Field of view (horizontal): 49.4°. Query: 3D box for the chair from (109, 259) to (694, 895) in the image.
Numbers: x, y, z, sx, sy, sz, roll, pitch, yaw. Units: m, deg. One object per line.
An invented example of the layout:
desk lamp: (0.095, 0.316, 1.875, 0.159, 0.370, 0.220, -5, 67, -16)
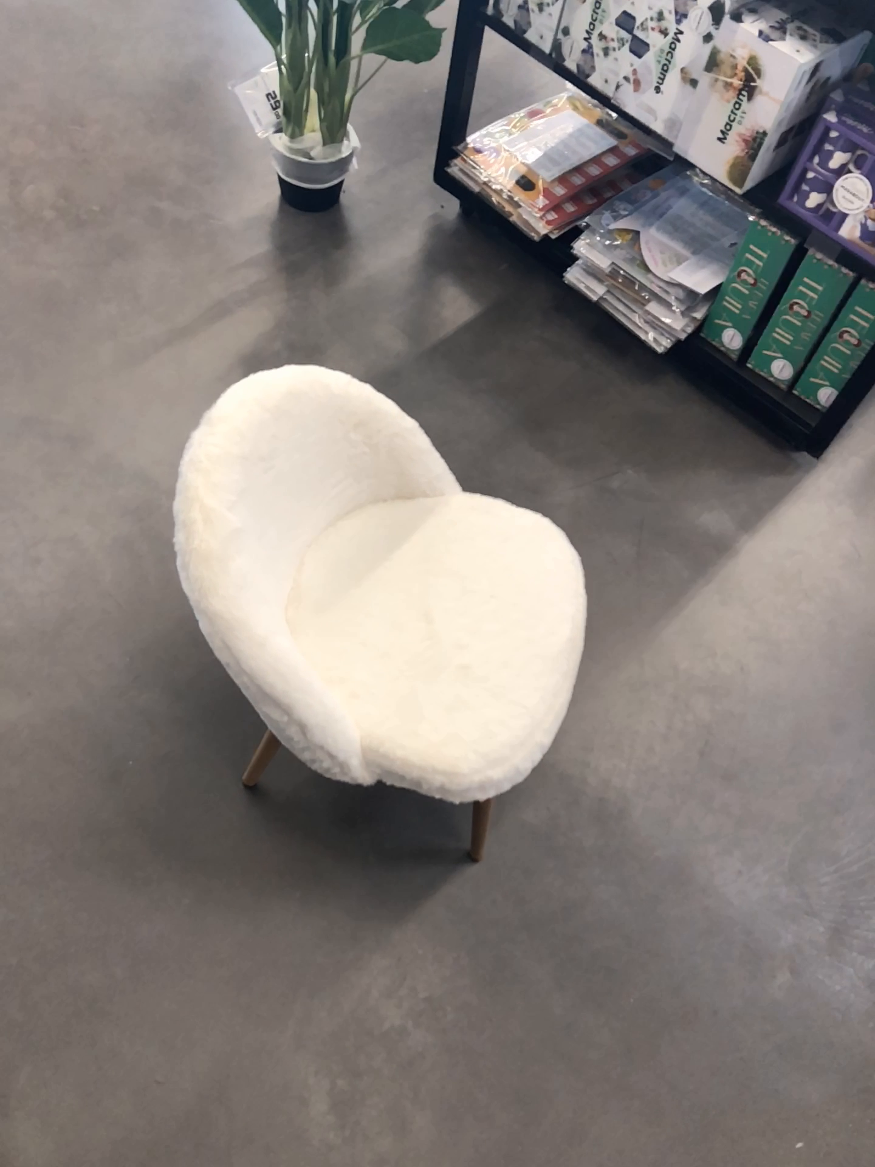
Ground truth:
chair: (-0.046, 0.018, 1.172, 0.470, 0.537, 0.412, 22, 54, 5)
